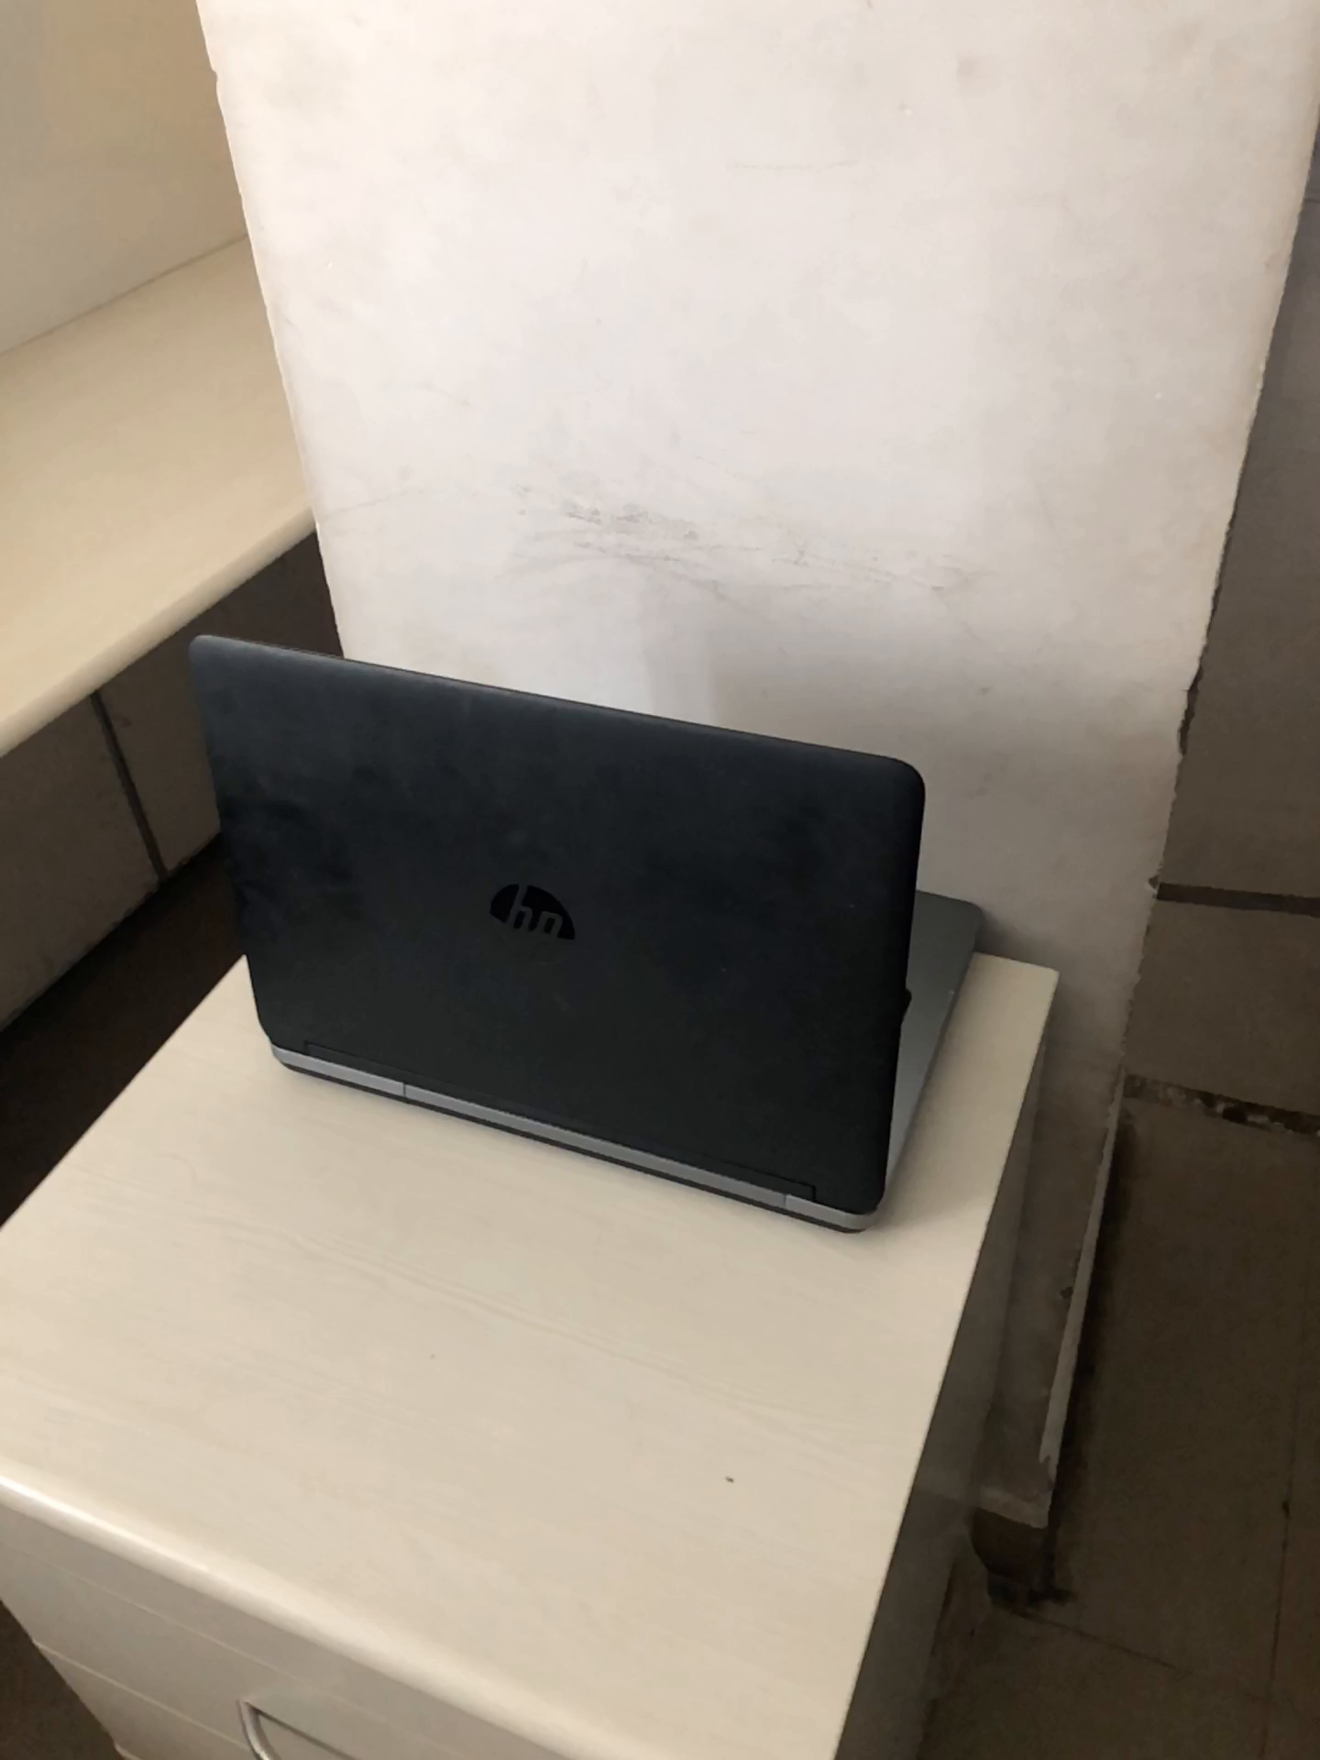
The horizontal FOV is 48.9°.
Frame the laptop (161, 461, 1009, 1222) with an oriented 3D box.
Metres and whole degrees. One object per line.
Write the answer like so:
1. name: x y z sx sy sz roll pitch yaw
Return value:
1. laptop: -0.022 -0.031 0.711 0.317 0.226 0.205 13 44 19
